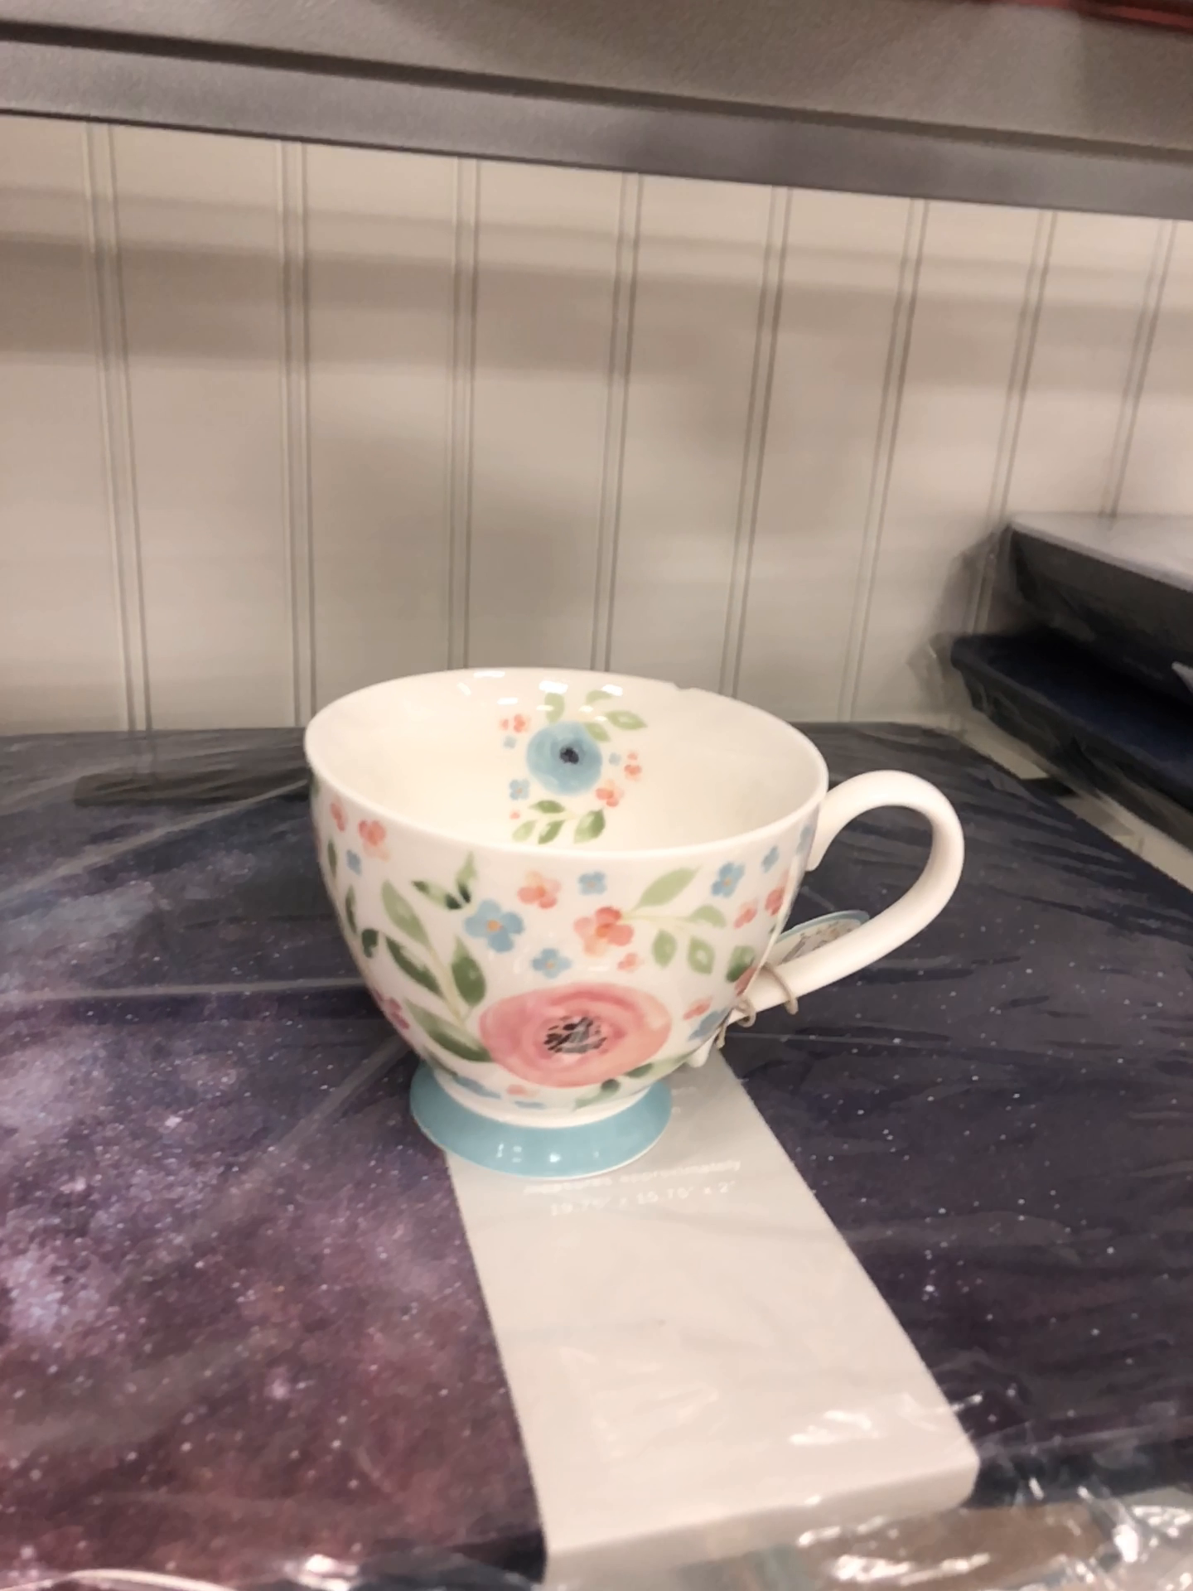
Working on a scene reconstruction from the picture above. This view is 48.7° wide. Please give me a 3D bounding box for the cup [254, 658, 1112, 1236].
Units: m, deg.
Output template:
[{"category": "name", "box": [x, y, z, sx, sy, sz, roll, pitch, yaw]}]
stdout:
[{"category": "cup", "box": [0.011, 0.027, 0.294, 0.150, 0.079, 0.111, 2, 22, -5]}]
